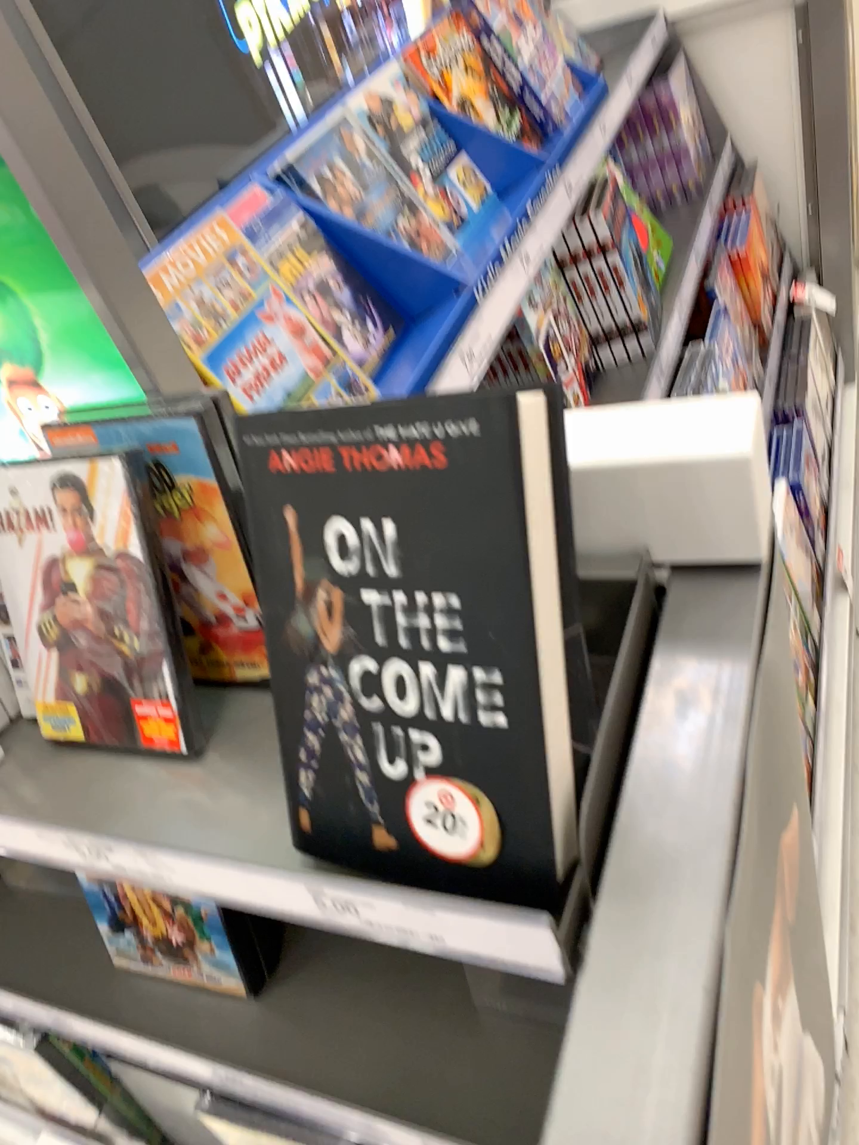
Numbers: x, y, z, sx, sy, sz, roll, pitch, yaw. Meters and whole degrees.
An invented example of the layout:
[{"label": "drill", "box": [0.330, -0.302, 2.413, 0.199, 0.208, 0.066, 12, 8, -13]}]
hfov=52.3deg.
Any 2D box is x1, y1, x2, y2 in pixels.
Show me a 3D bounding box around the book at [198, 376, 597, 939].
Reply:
[{"label": "book", "box": [-0.012, 0.033, 0.393, 0.149, 0.222, 0.056, 1, 14, 29]}]
